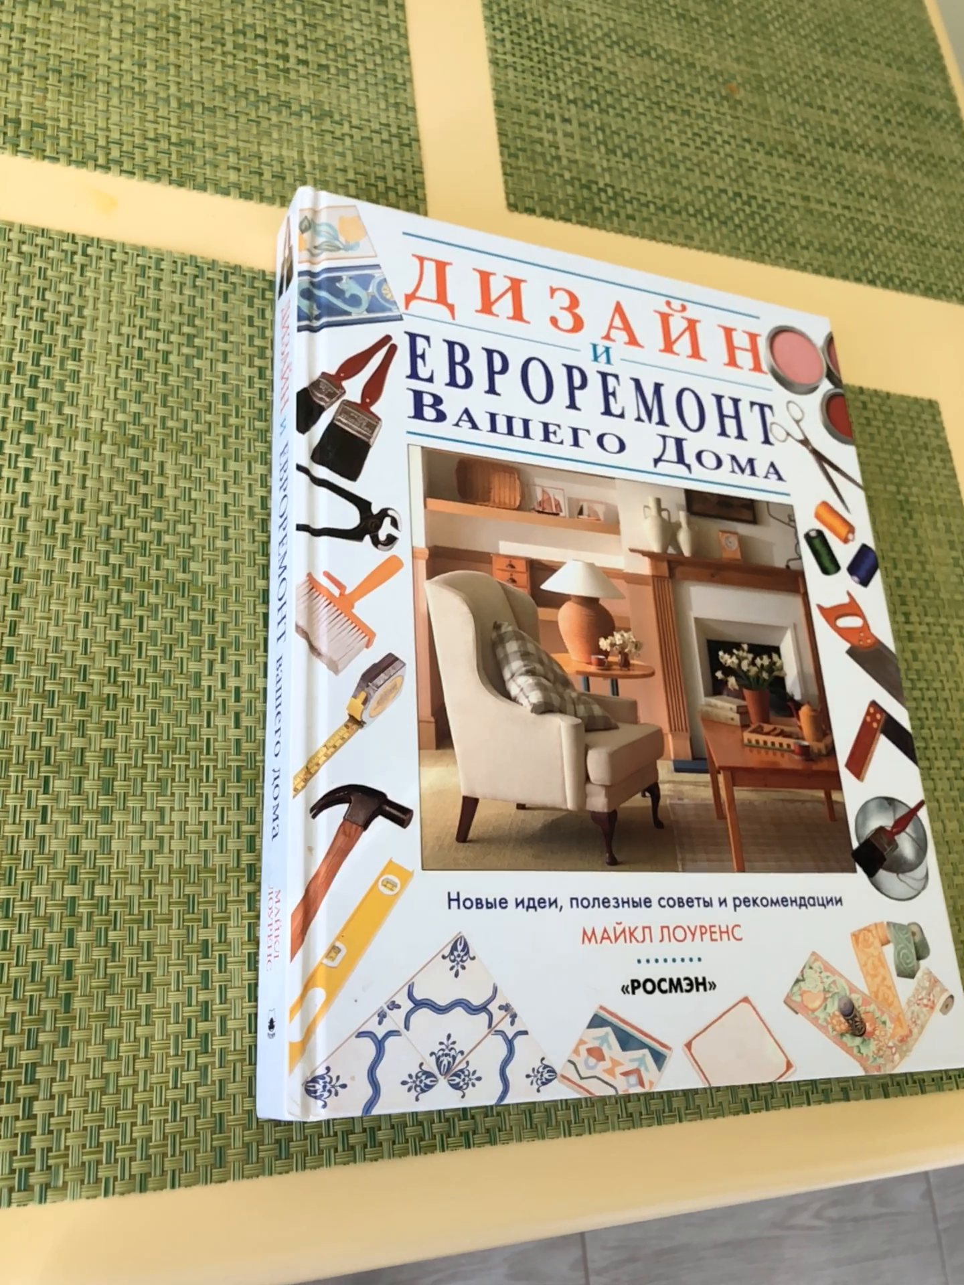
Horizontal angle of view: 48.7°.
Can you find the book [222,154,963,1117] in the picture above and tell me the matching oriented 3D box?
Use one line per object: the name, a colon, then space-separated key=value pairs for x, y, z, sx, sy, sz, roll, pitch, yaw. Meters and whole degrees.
book: x=0.035 y=-0.007 z=0.341 sx=0.213 sy=0.038 sz=0.276 roll=7 pitch=67 yaw=-23
